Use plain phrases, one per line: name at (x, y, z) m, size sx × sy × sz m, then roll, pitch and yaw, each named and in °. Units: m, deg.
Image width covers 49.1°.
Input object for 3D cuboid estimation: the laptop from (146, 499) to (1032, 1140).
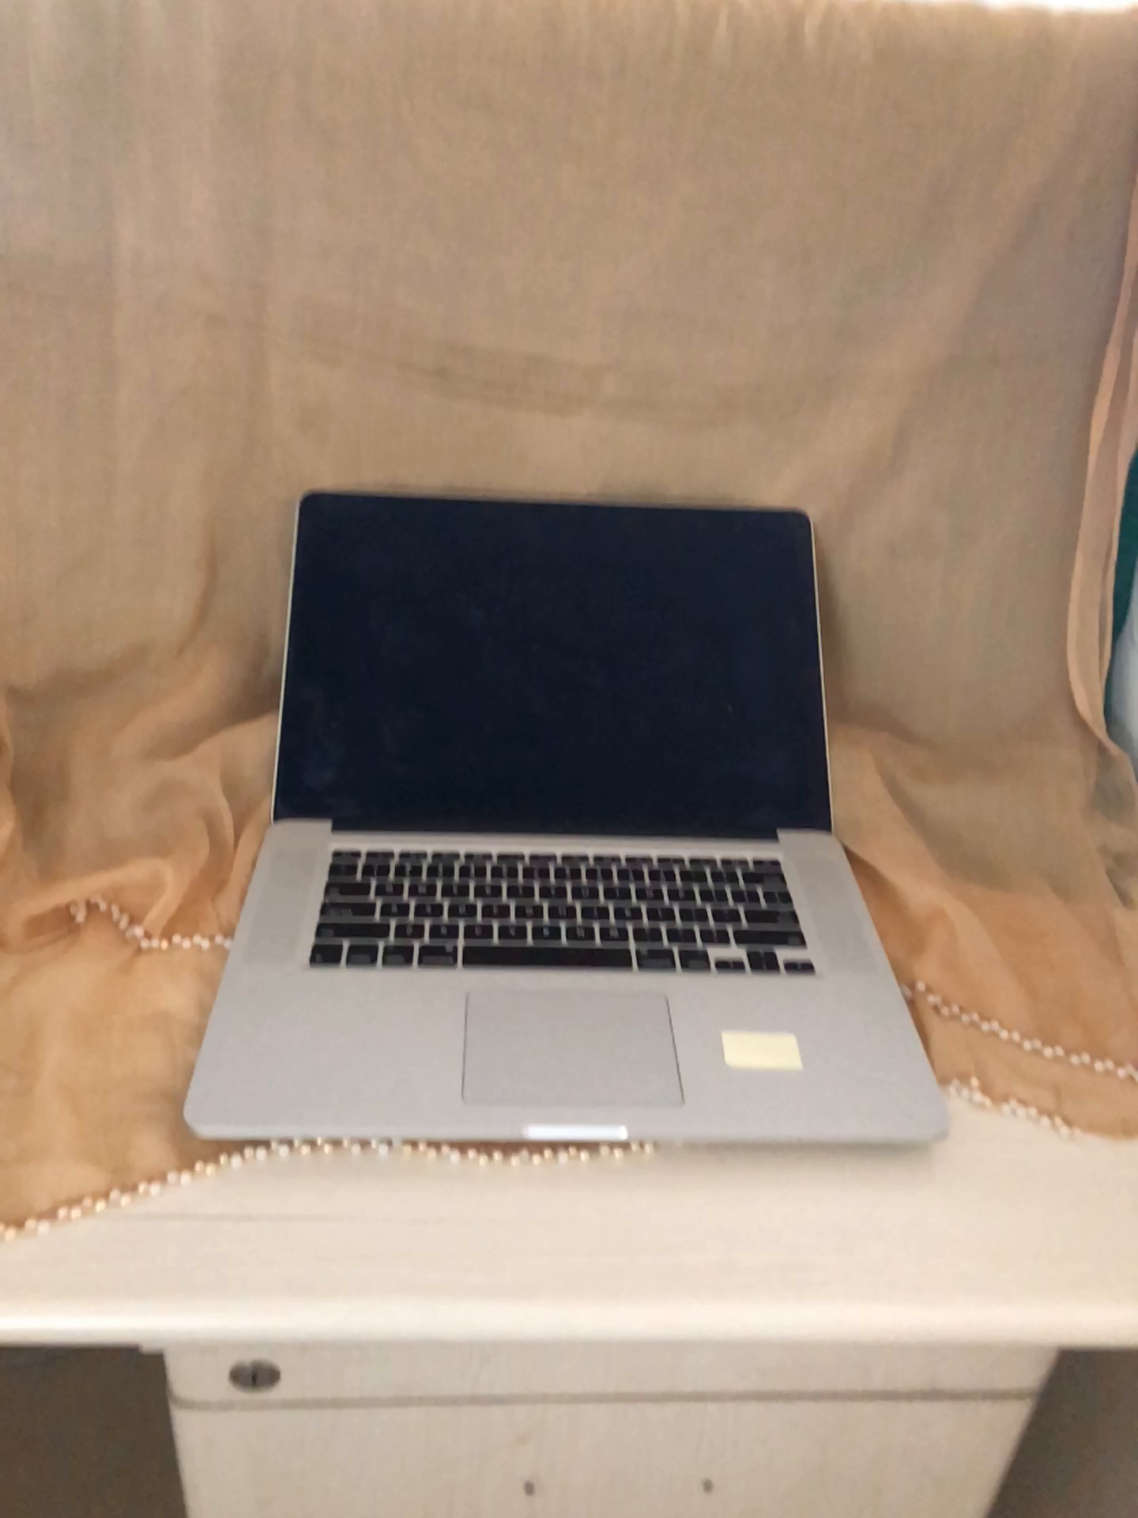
laptop at (0.000, 0.001, 0.680) m, size 0.336 × 0.135 × 0.408 m, roll 2°, pitch 32°, yaw -4°
